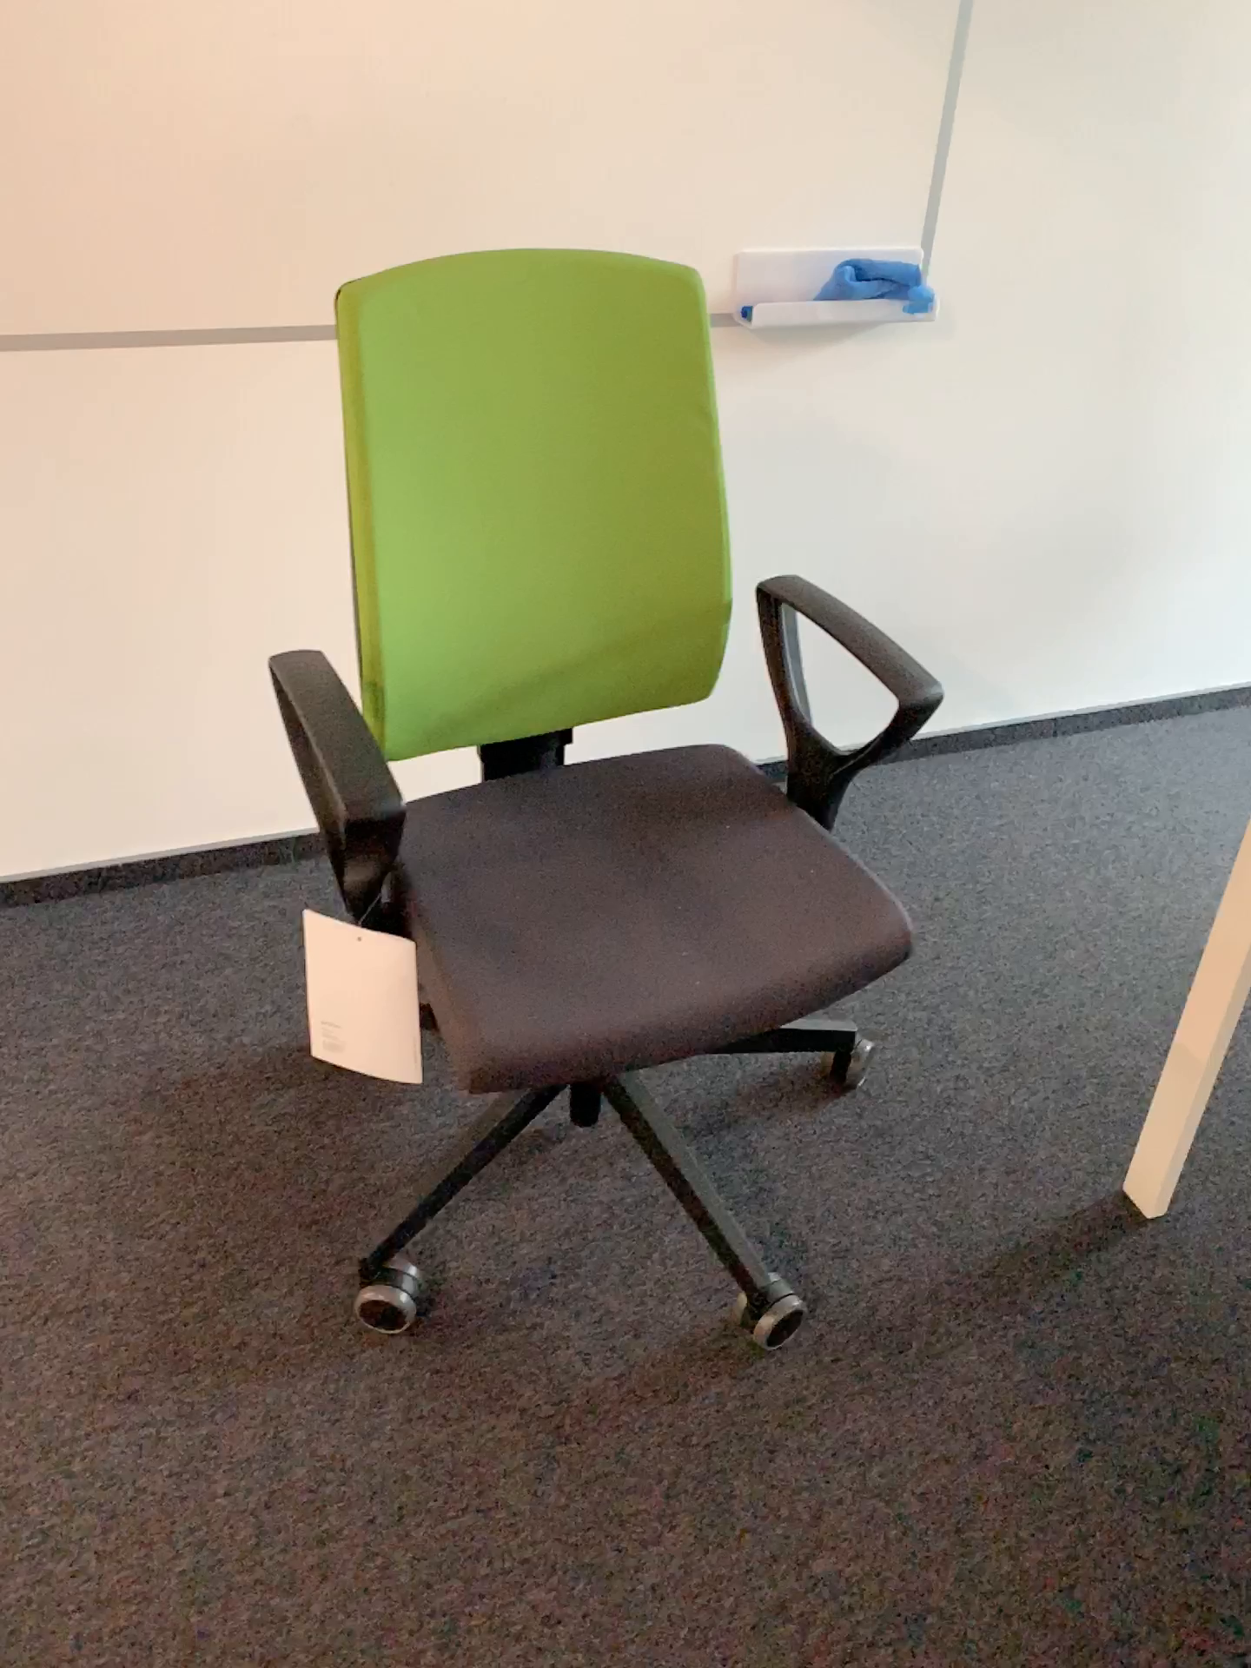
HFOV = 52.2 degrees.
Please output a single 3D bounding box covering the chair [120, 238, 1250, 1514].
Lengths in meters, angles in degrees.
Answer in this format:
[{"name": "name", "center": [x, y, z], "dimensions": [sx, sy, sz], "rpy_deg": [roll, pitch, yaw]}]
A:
[{"name": "chair", "center": [0.001, -0.032, 1.354], "dimensions": [0.761, 0.964, 0.733], "rpy_deg": [-13, 37, -23]}]
